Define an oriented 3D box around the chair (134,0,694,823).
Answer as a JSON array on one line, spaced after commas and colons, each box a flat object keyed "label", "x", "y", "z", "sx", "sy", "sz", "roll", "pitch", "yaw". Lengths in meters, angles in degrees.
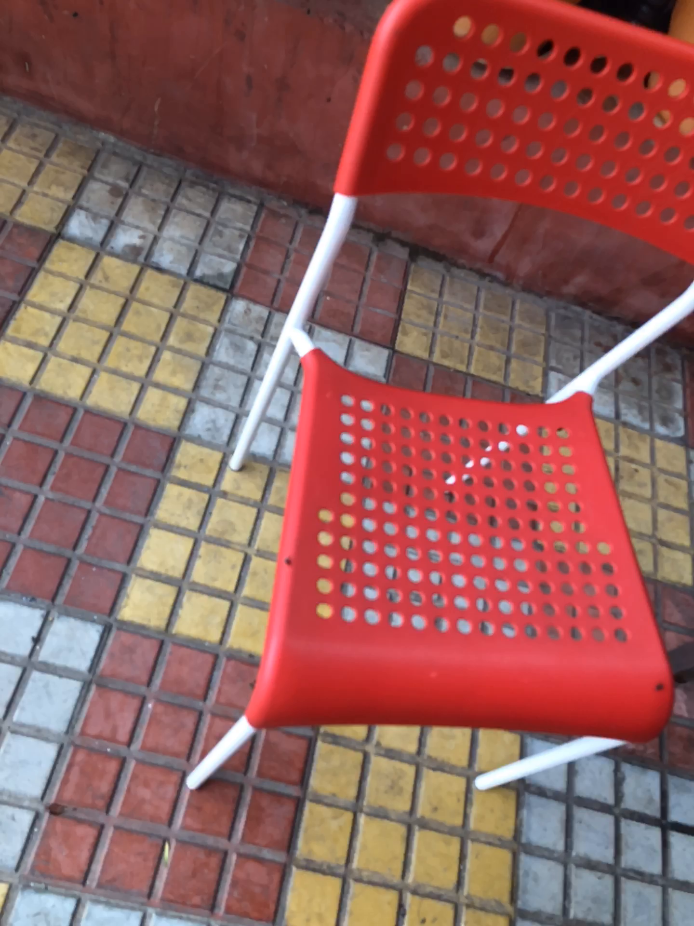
[{"label": "chair", "x": 0.079, "y": 0.028, "z": 0.734, "sx": 0.451, "sy": 0.696, "sz": 0.542, "roll": 8, "pitch": 61, "yaw": -14}]
